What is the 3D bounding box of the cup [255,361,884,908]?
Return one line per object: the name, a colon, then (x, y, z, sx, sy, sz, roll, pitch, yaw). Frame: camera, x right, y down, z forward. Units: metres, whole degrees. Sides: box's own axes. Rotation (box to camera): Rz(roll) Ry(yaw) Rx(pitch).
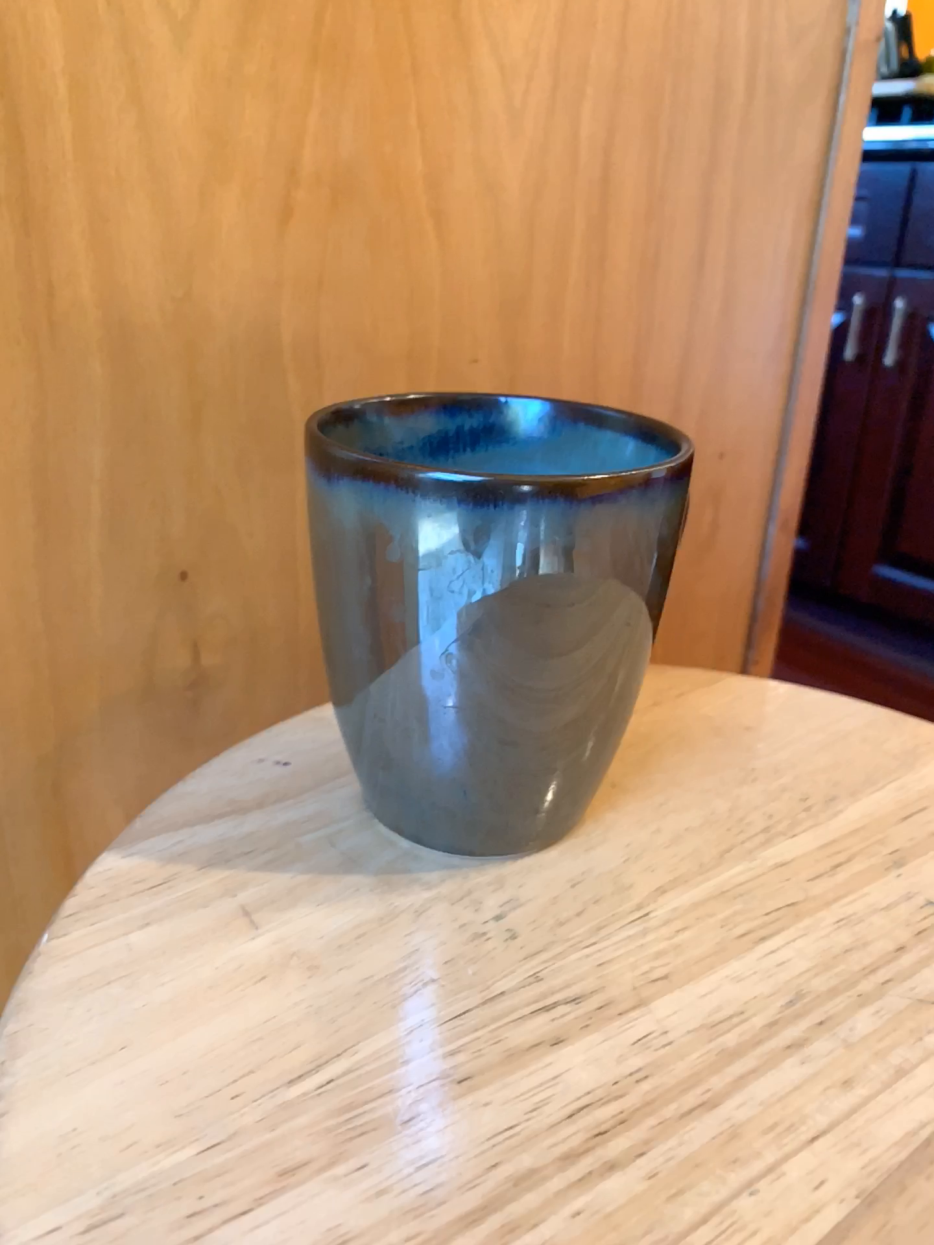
cup: (0.023, -0.010, 0.240, 0.120, 0.090, 0.080, -13, 27, -34)
